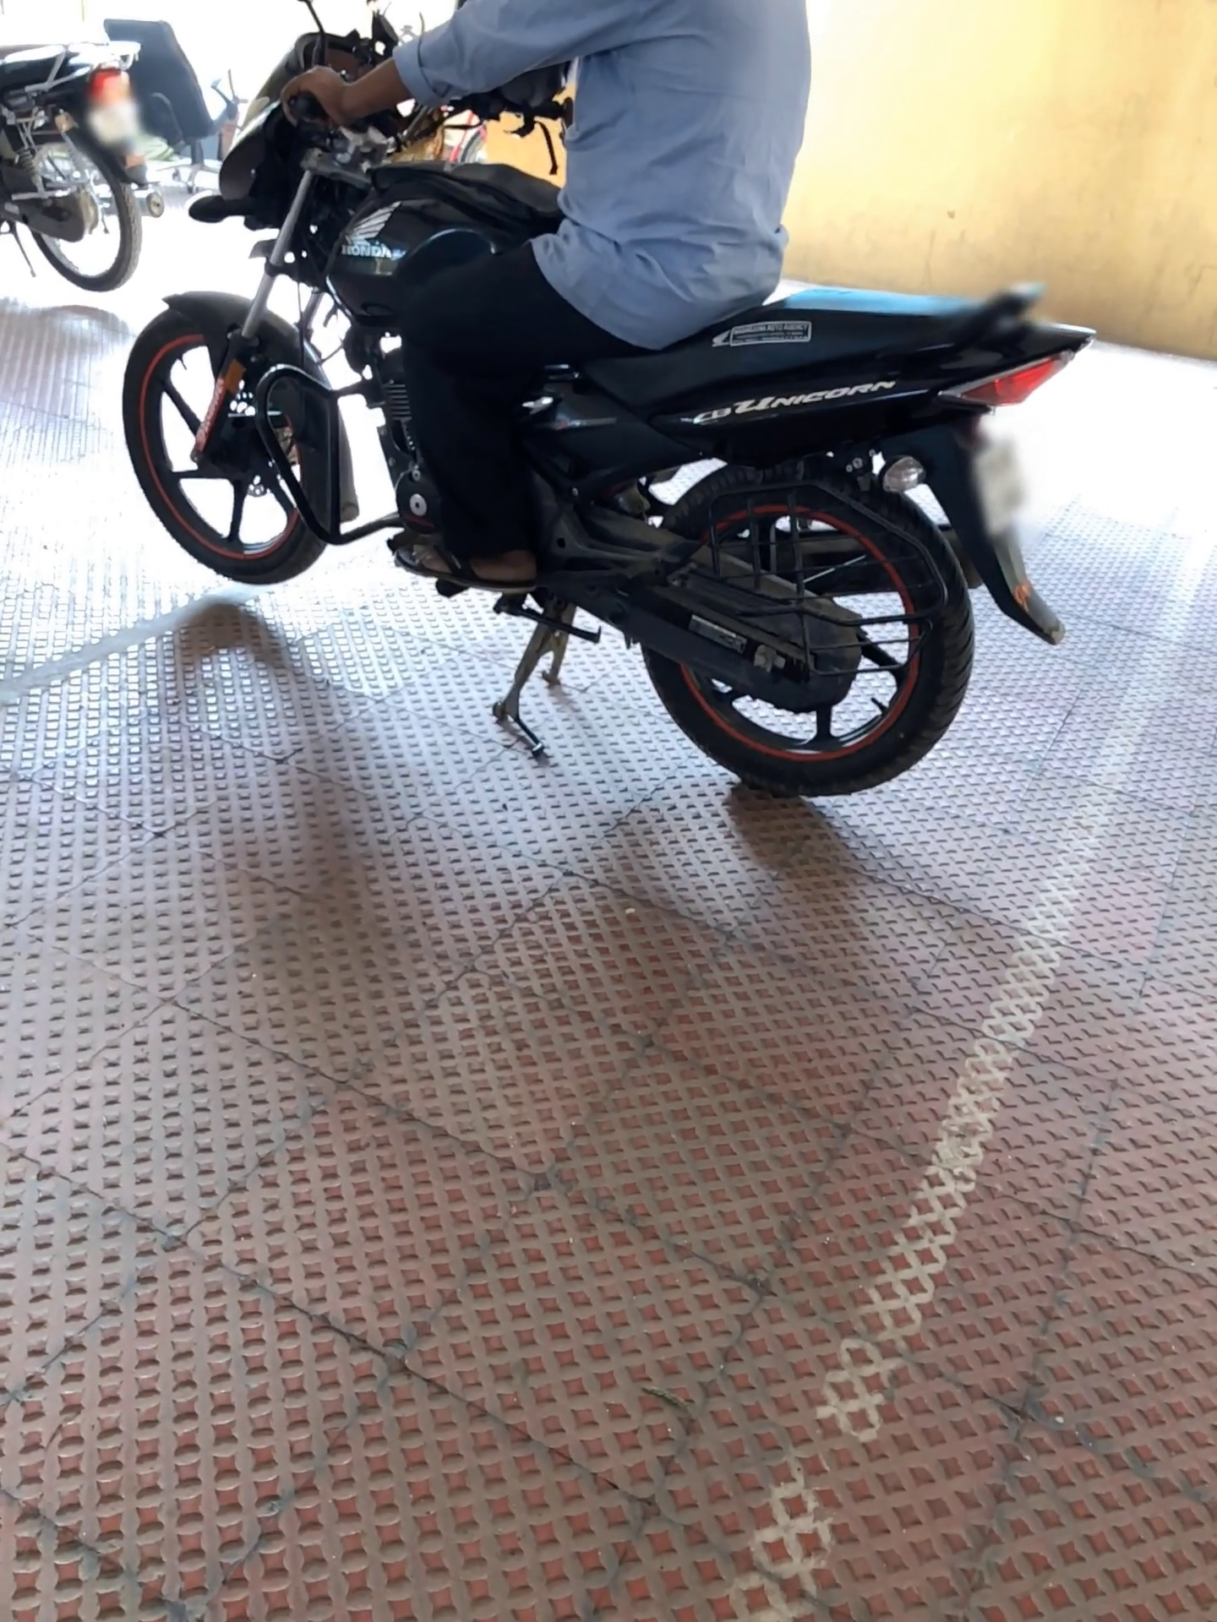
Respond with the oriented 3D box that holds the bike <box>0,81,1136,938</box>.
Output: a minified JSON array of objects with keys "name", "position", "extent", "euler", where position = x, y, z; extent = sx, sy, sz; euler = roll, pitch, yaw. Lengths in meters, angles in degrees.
[{"name":"bike","position":[-0.196,-0.698,2.505],"extent":[1.882,1.009,0.791],"euler":[21,34,23]}]
